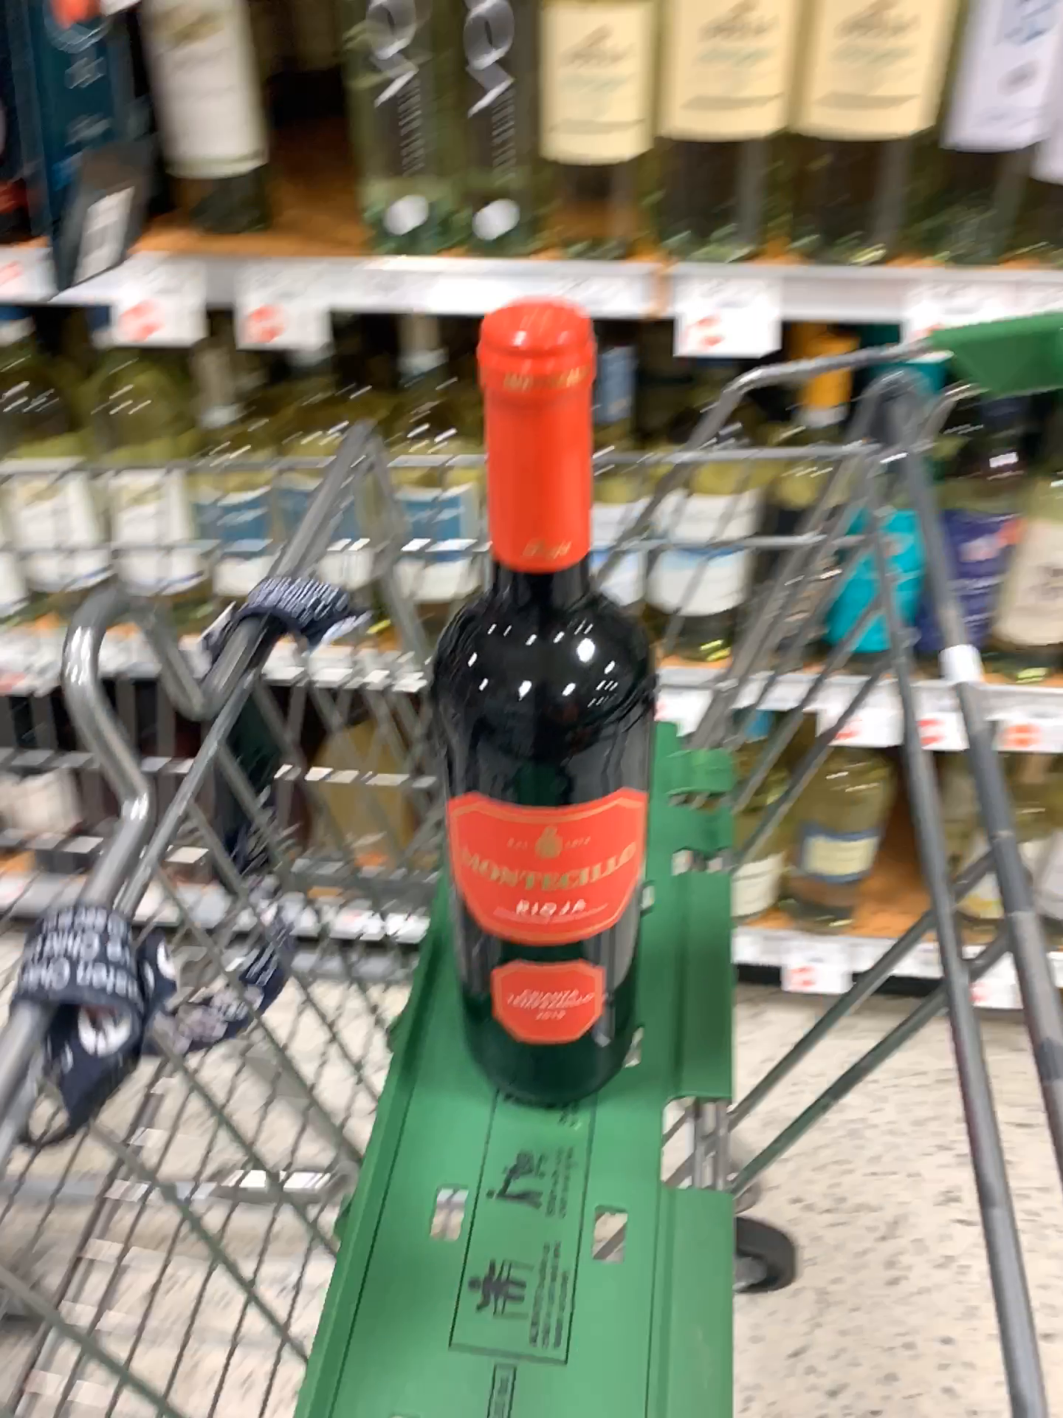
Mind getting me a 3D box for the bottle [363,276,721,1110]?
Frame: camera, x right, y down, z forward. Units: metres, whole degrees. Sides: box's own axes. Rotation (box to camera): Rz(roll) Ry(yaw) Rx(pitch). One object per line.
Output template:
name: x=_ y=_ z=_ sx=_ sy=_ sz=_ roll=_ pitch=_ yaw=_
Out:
bottle: x=0.005 y=0.019 z=0.369 sx=0.080 sy=0.297 sz=0.081 roll=-1 pitch=40 yaw=0
